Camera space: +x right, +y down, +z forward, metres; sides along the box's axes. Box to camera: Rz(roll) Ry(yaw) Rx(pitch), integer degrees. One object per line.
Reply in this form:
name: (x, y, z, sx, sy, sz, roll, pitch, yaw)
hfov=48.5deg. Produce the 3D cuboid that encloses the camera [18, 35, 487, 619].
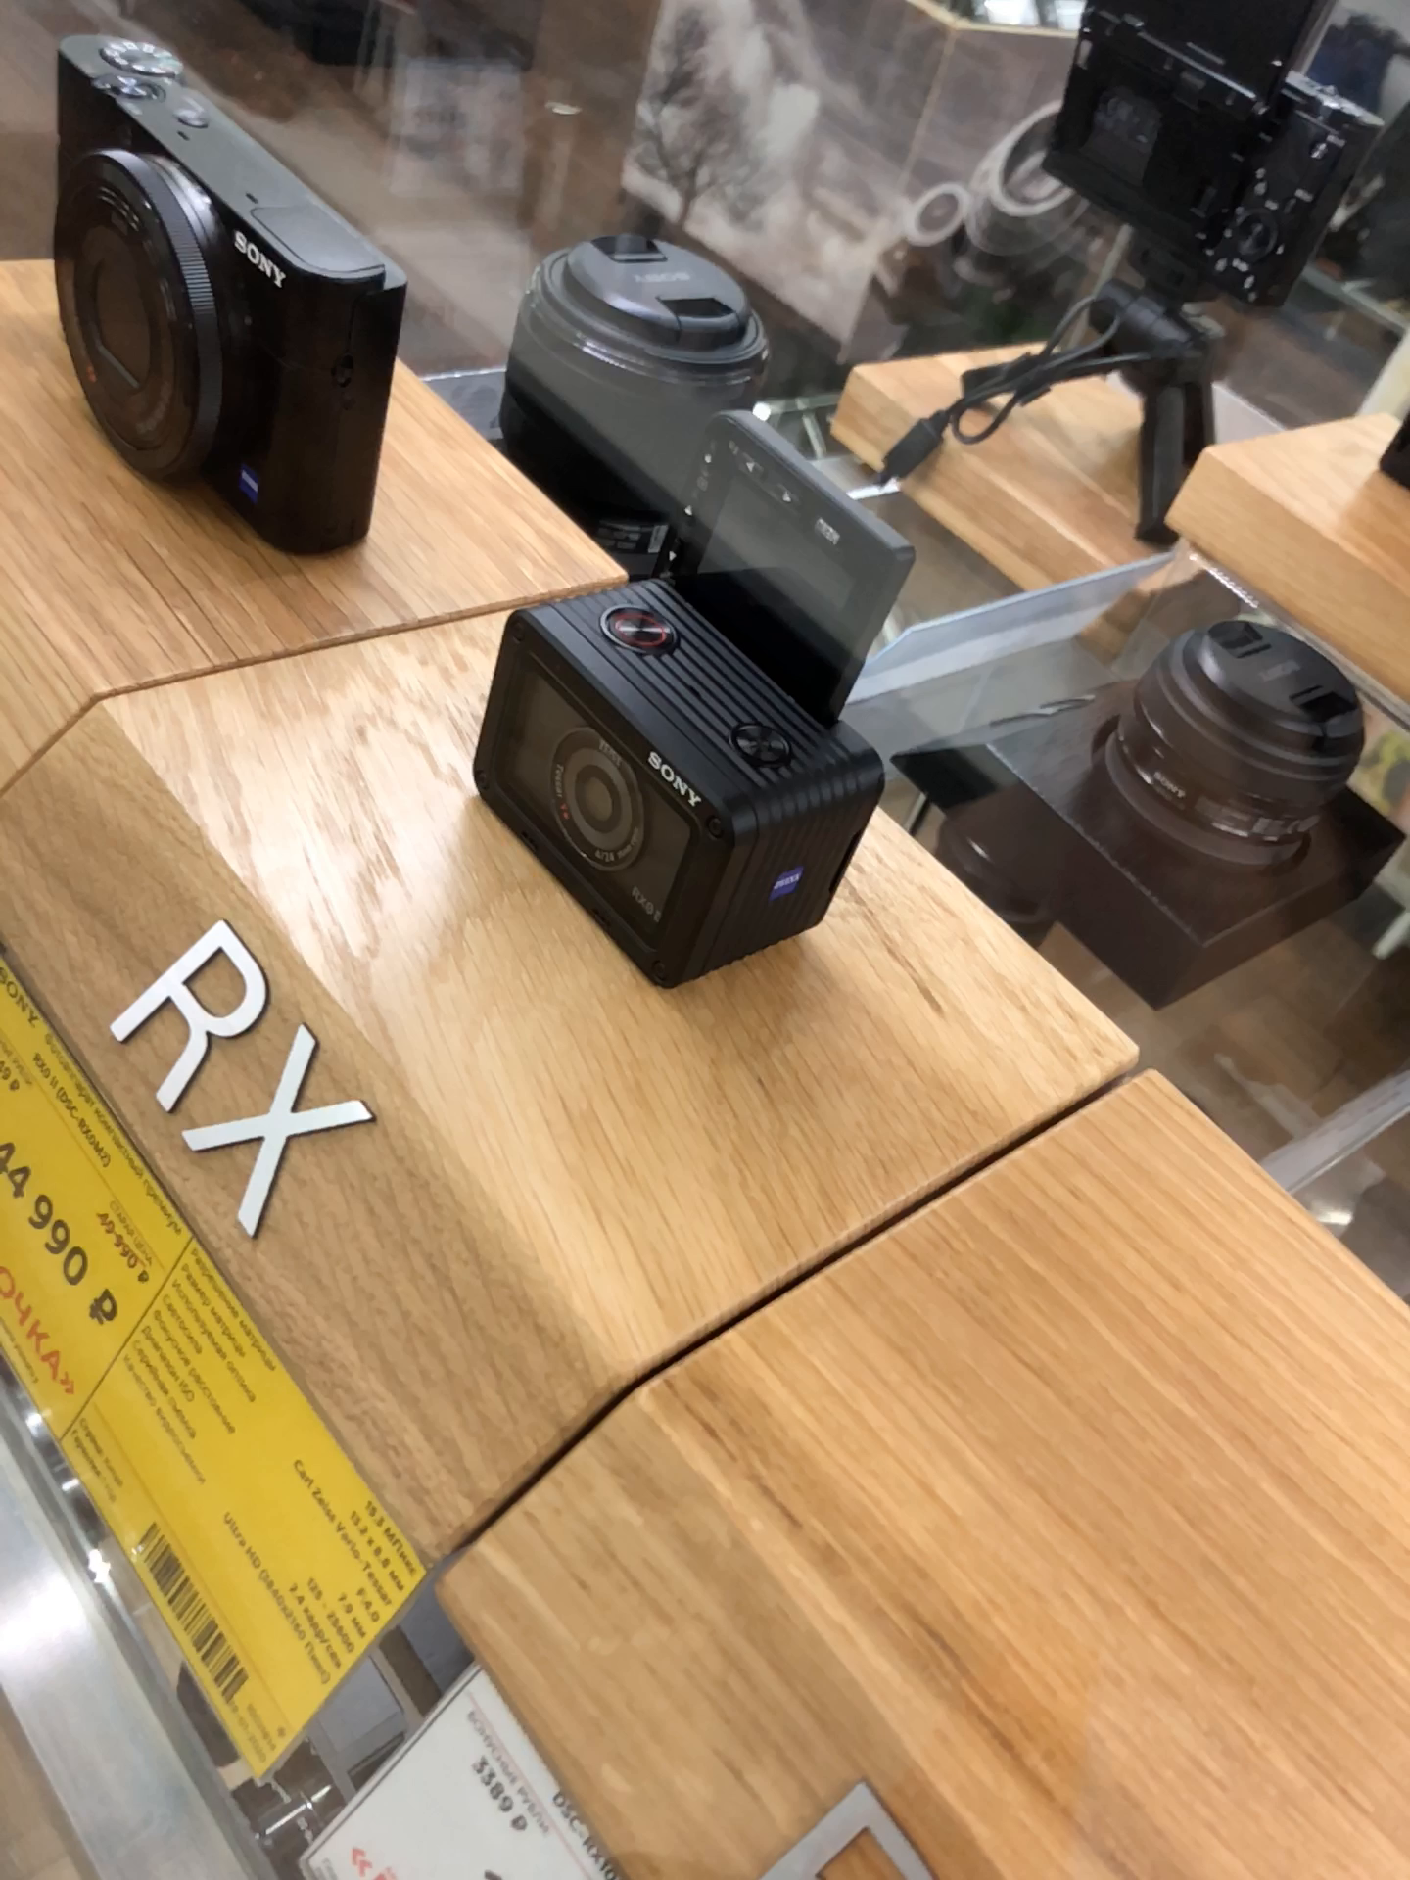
camera: (-0.097, -0.127, 0.322, 0.041, 0.067, 0.105, -22, 58, -38)

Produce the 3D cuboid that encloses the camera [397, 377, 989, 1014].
camera: (-0.006, -0.040, 0.247, 0.050, 0.067, 0.062, -23, 58, -38)
